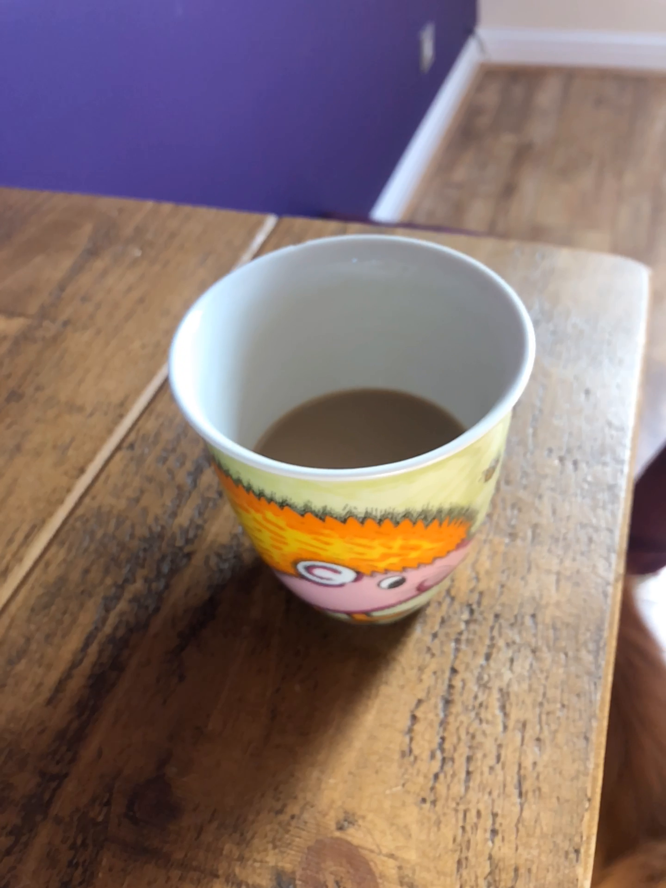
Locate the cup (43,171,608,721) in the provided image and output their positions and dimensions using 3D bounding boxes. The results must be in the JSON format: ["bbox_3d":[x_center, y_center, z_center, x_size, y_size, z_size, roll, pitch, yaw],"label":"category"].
[{"bbox_3d":[-0.003,-0.008,0.249,0.107,0.089,0.128,-35,52,-24],"label":"cup"}]
